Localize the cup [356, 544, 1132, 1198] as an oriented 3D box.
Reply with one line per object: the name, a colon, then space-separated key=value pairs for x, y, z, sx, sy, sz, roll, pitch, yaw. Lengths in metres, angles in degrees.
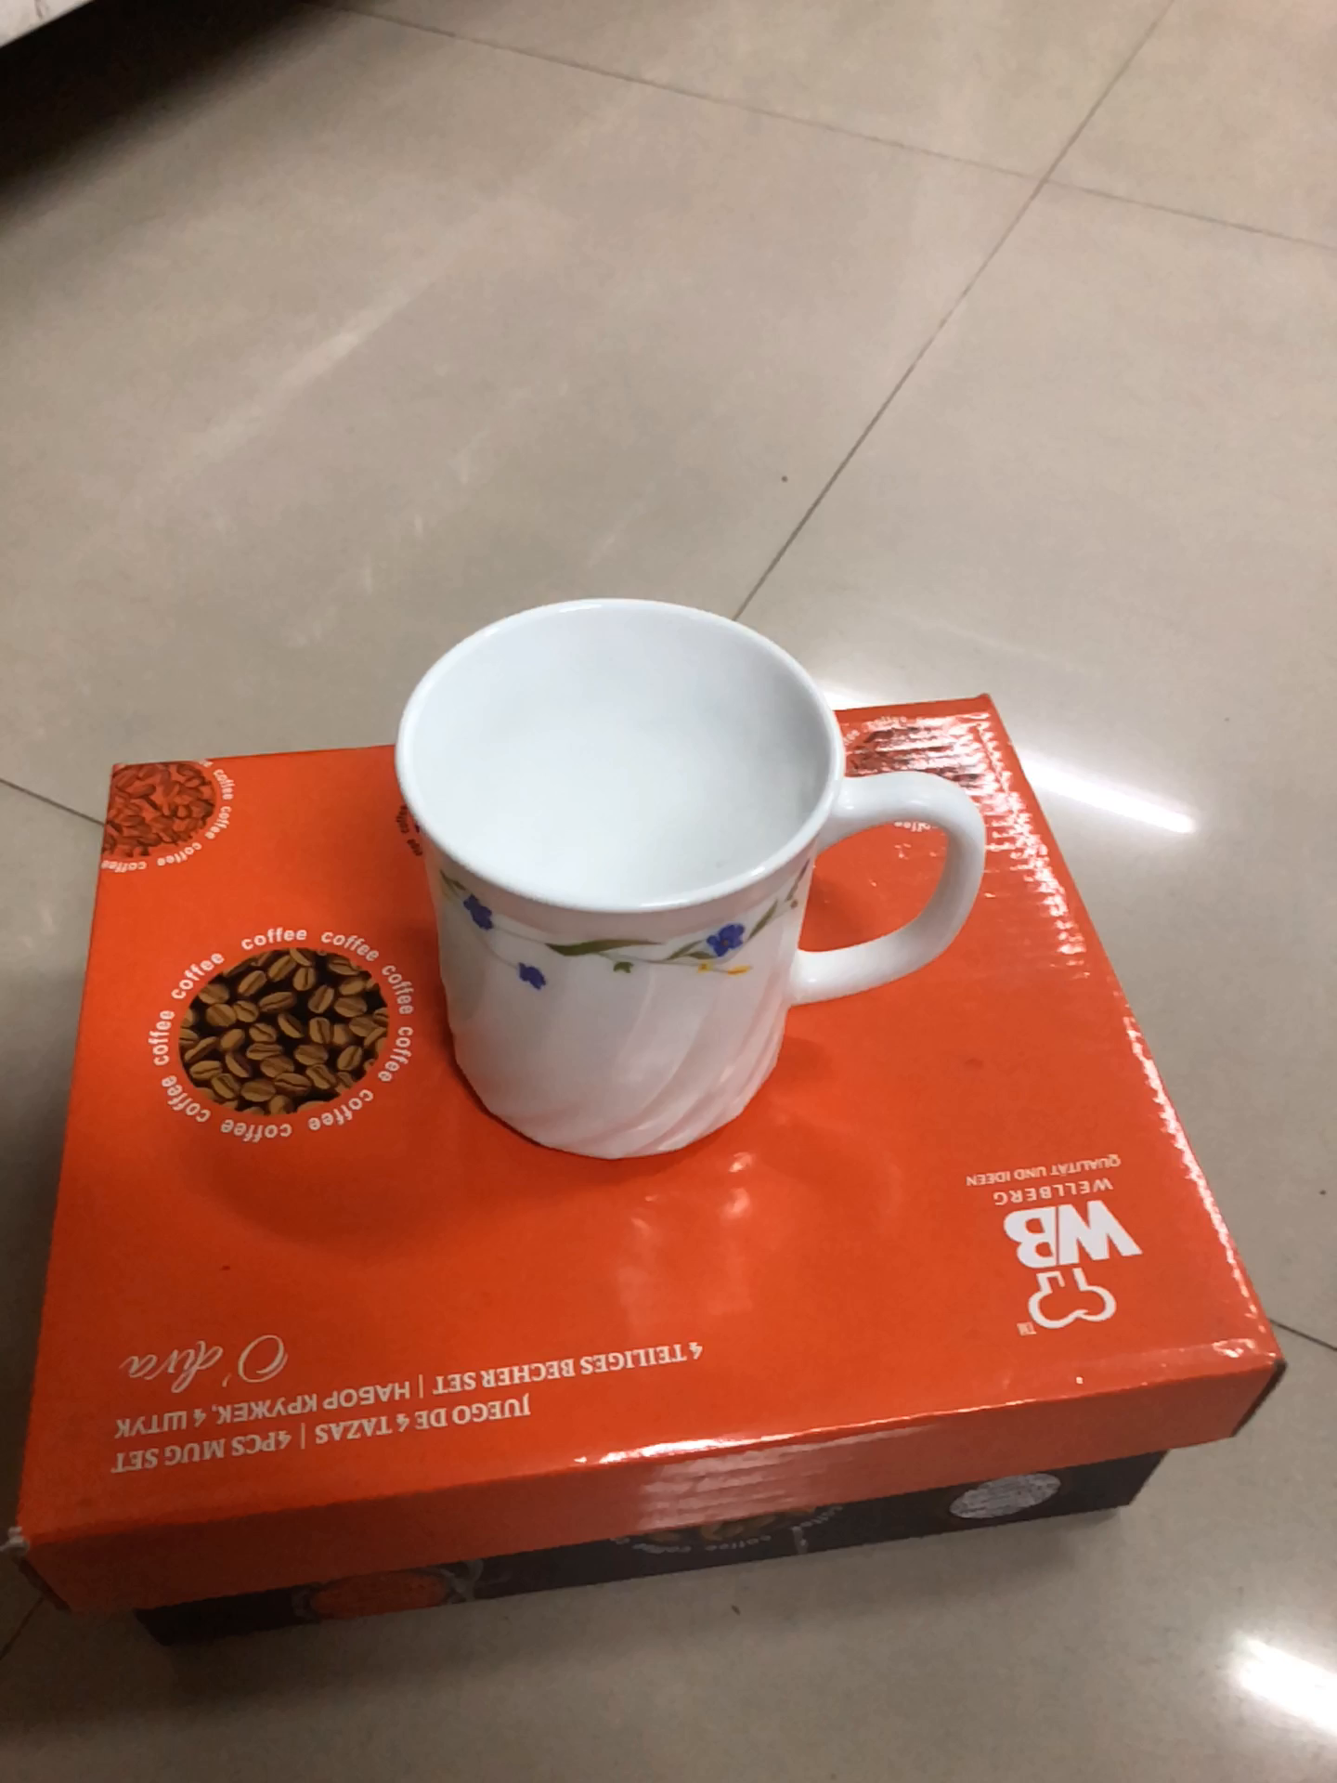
cup: x=0.010 y=-0.003 z=0.292 sx=0.120 sy=0.089 sz=0.091 roll=1 pitch=50 yaw=-2
